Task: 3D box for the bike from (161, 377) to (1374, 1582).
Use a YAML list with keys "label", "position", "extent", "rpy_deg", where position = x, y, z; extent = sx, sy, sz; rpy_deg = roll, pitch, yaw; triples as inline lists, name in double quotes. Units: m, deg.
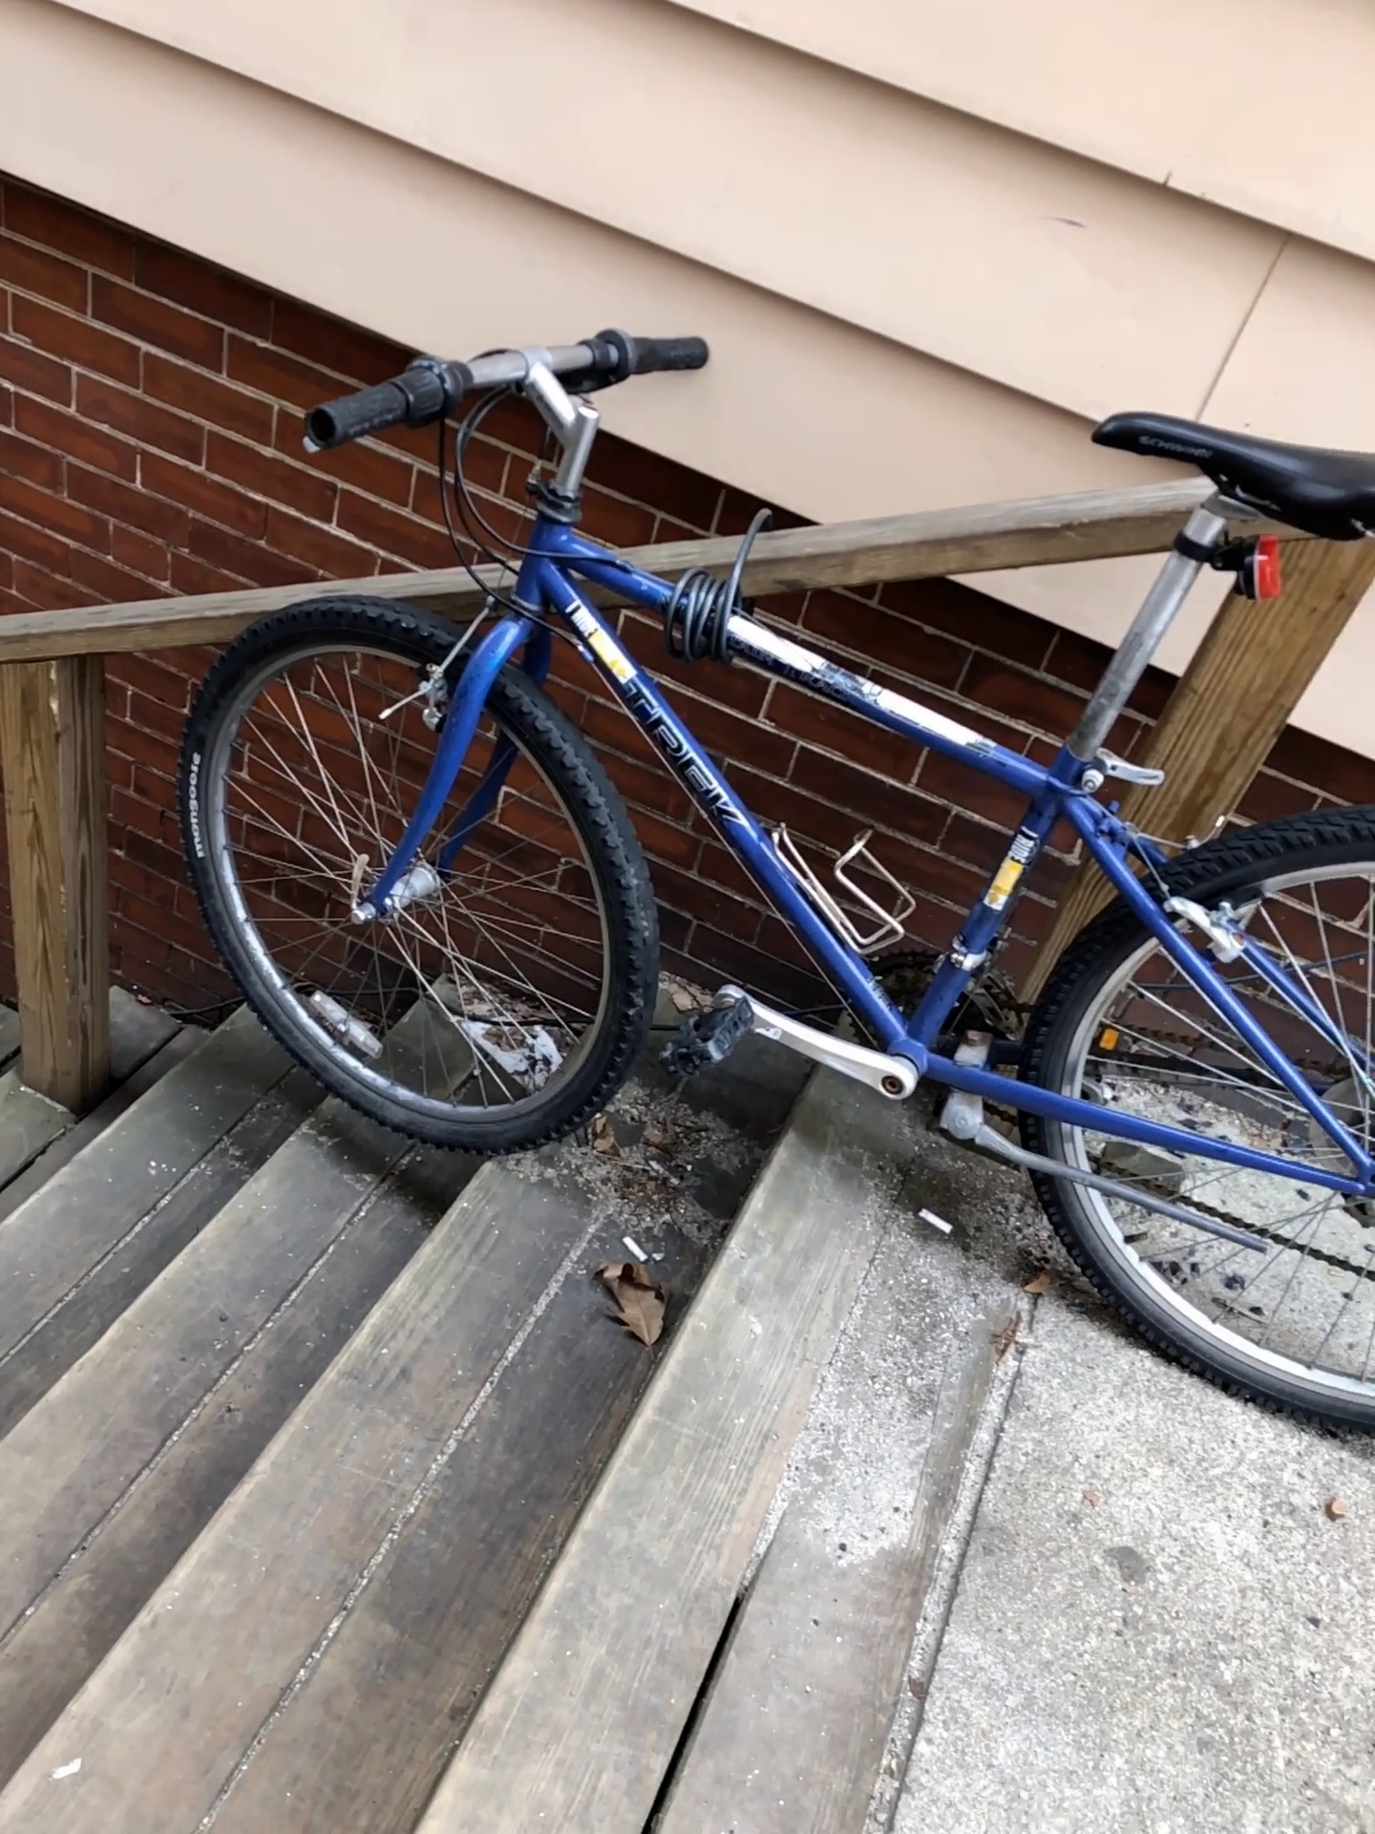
- label: "bike"
  position: [0.207, -0.045, 1.560]
  extent: [1.520, 0.619, 0.535]
  rpy_deg: [19, 36, 16]
